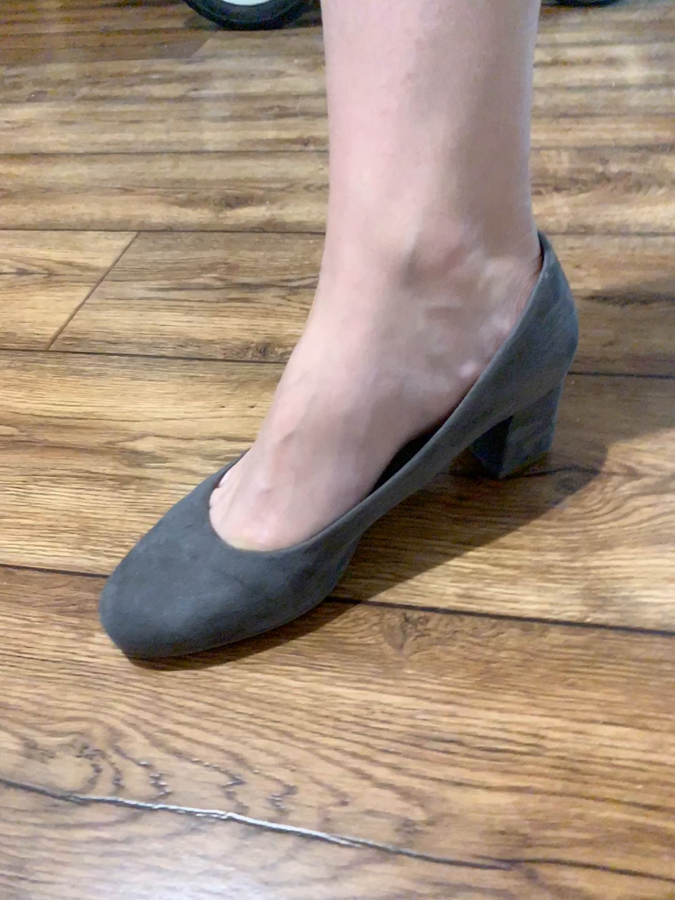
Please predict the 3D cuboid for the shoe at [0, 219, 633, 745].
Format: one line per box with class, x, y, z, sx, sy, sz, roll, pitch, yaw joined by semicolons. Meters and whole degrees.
shoe;-0.001;0.003;0.280;0.210;0.109;0.084;-24;44;-18
